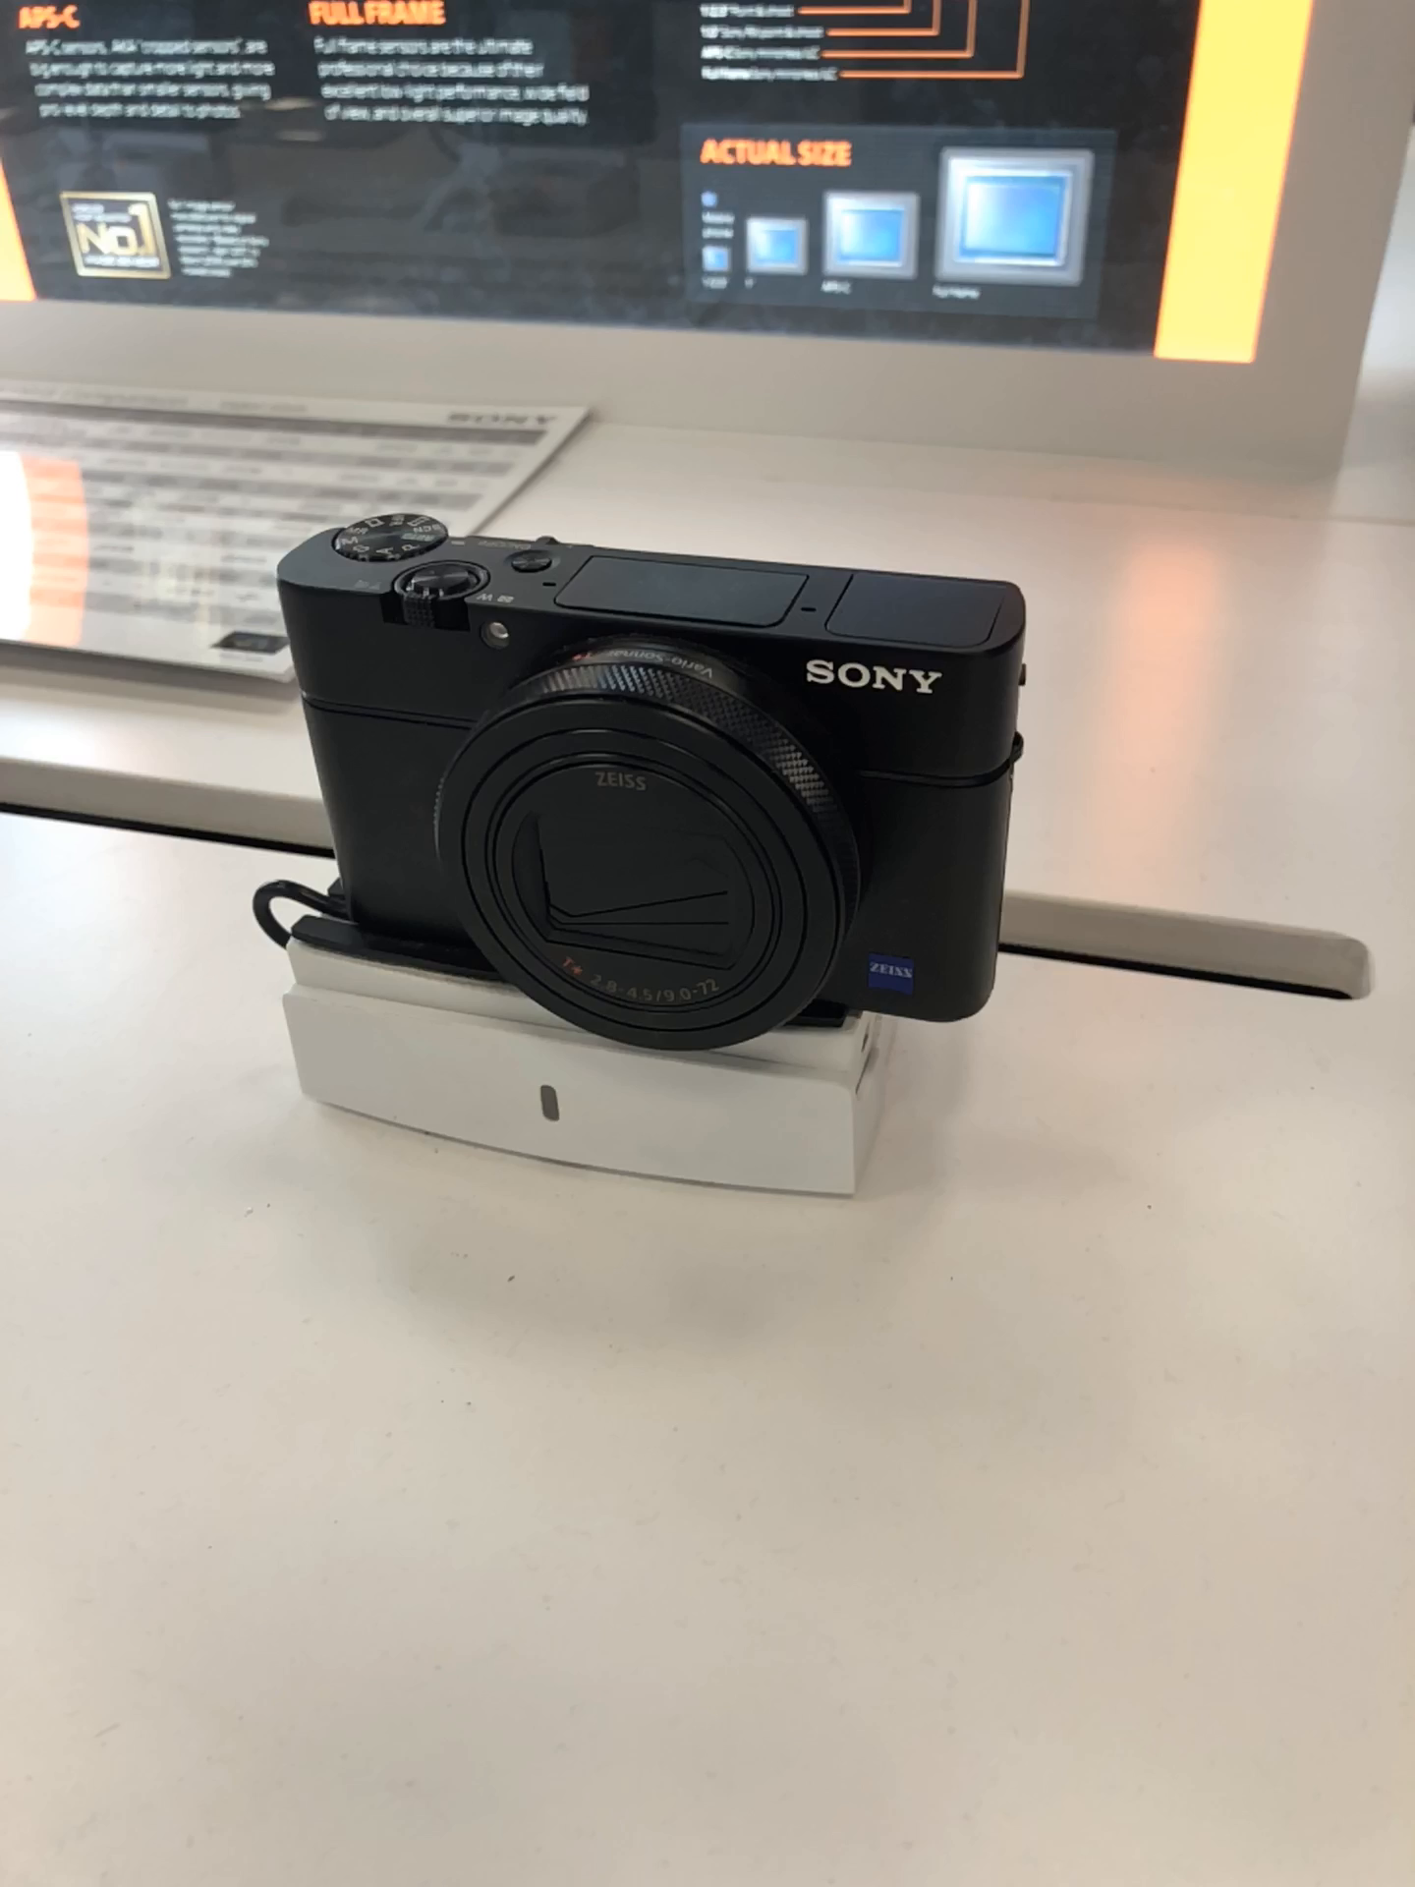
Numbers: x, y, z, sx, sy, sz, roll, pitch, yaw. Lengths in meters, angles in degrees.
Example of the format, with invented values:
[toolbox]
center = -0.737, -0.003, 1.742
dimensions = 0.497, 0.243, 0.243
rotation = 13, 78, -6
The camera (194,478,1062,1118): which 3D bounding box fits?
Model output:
[camera]
center = -0.009, -0.023, 0.234
dimensions = 0.110, 0.070, 0.040
rotation = 9, 37, 15
